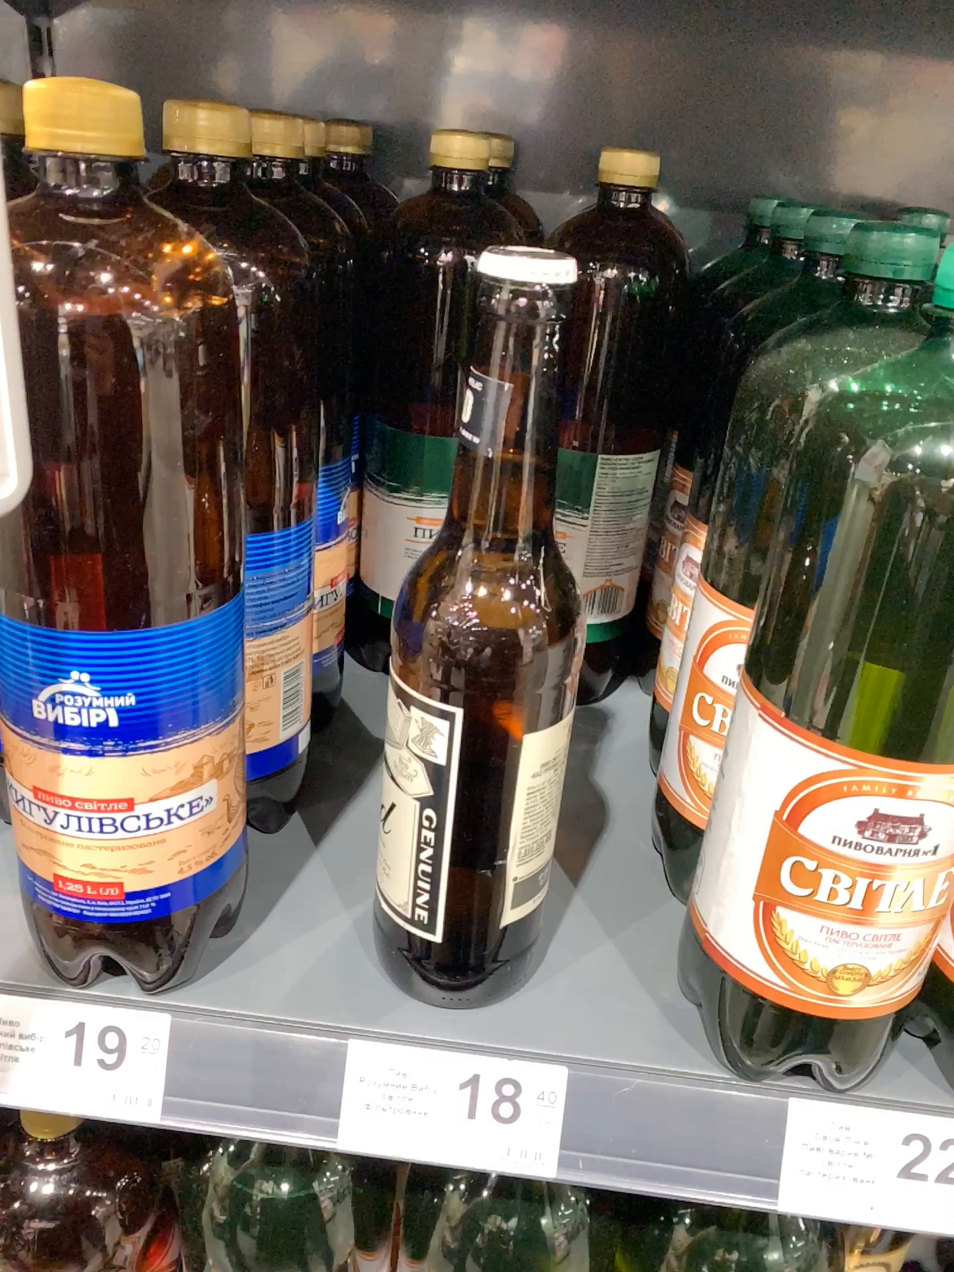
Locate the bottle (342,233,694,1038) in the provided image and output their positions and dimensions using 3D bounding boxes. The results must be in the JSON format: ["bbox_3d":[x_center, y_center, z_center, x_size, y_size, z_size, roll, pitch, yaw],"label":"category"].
[{"bbox_3d":[0.002,0.008,0.332,0.070,0.258,0.064,5,26,-2],"label":"bottle"}]
